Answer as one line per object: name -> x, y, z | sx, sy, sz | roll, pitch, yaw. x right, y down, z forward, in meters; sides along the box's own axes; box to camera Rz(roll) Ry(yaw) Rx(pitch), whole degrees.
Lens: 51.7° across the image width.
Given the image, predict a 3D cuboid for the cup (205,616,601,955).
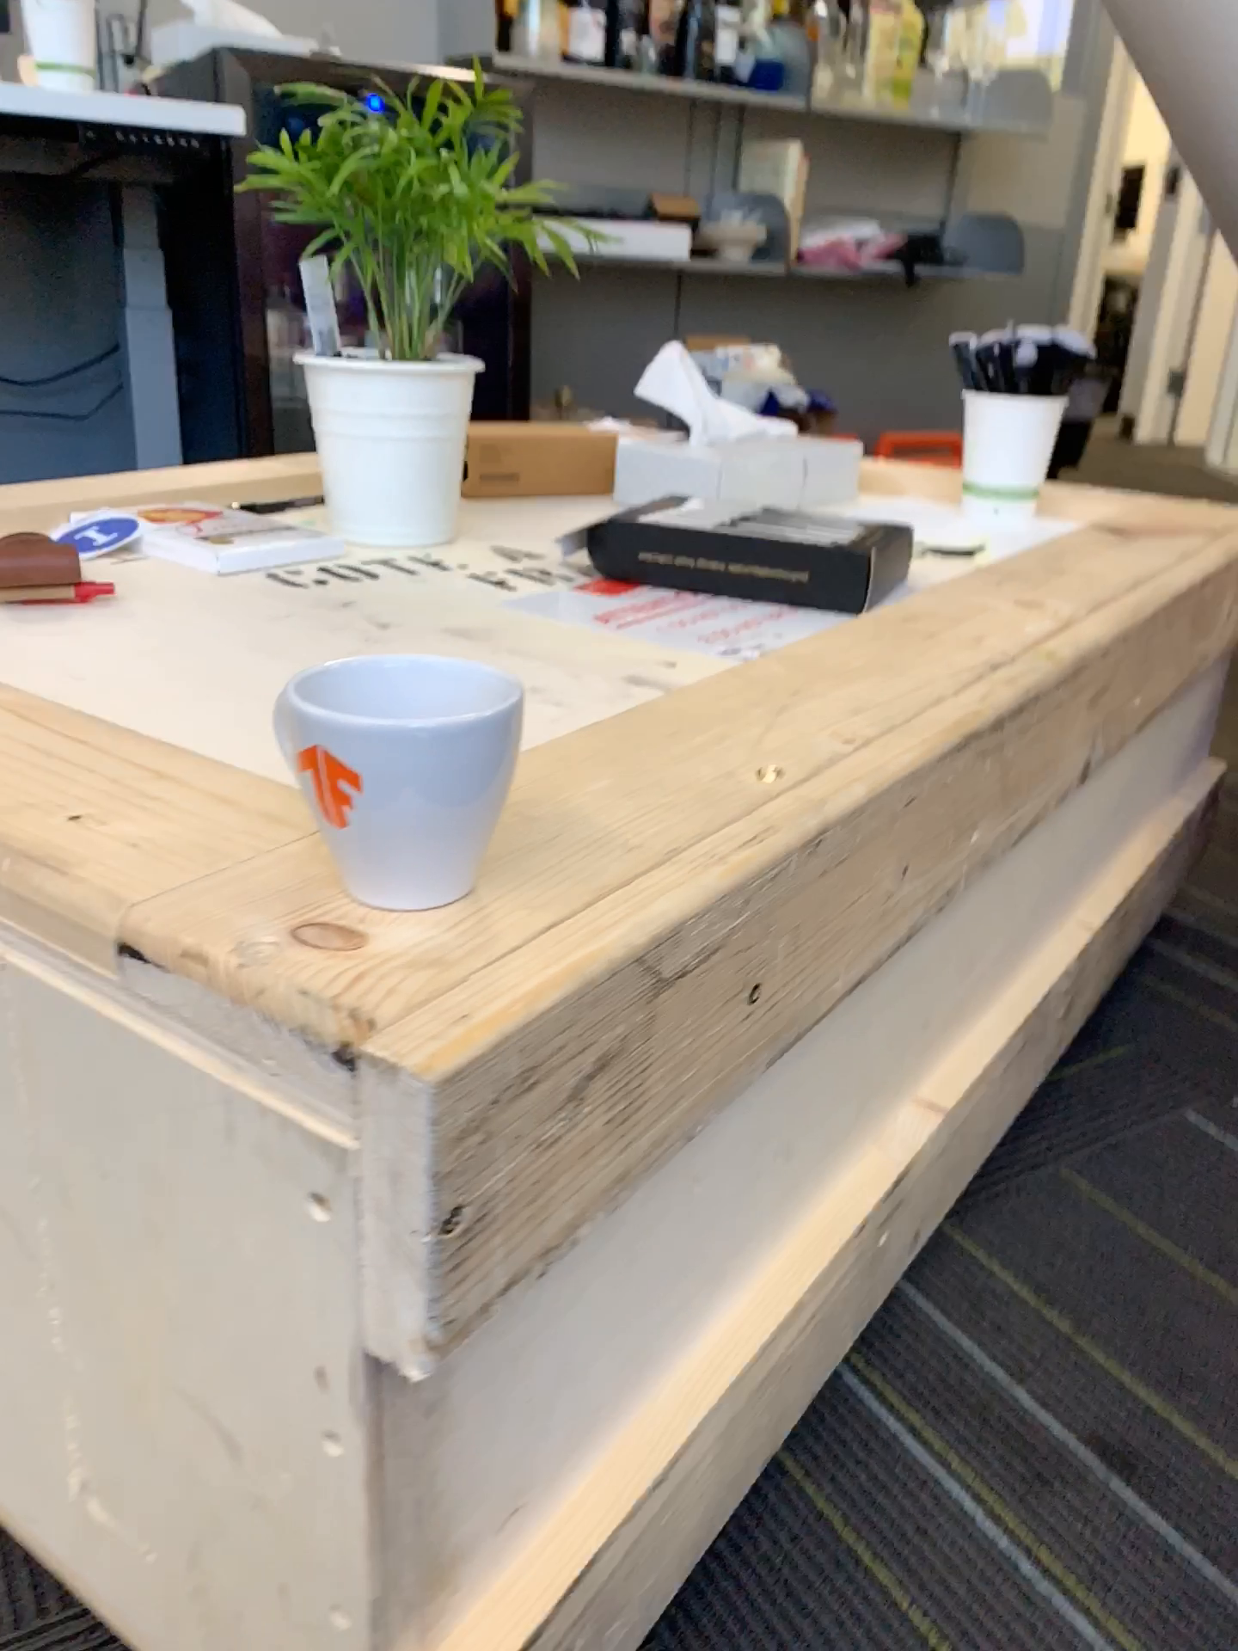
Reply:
cup -> -0.060, -0.016, 0.358 | 0.090, 0.060, 0.060 | 19, 27, 33
